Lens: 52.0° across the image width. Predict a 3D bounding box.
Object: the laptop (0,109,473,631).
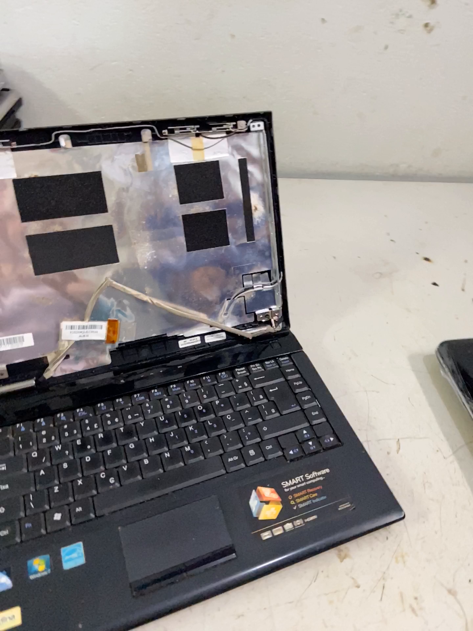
[{"bbox_3d":[-0.066,0.016,0.399,0.333,0.206,0.336,-13,47,-17],"label":"laptop"}]
